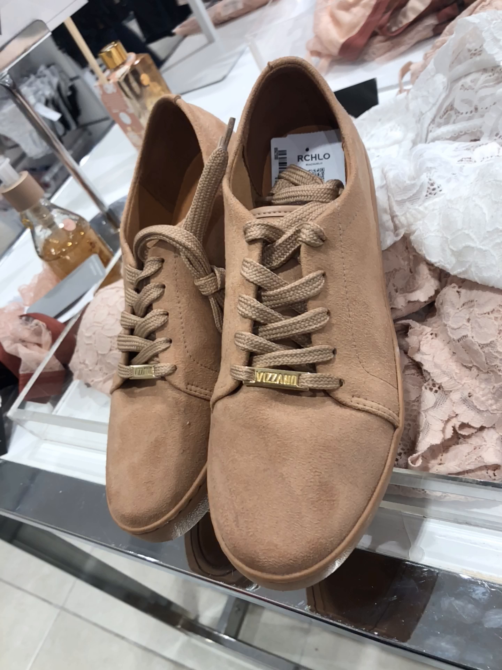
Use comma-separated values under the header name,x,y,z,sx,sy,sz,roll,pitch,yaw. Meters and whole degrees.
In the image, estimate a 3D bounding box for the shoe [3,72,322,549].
name,x,y,z,sx,sy,sz,roll,pitch,yaw
shoe,-0.038,-0.012,0.330,0.090,0.099,0.241,-1,68,34

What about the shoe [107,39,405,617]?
name,x,y,z,sx,sy,sz,roll,pitch,yaw
shoe,0.023,-0.007,0.266,0.090,0.099,0.241,1,65,17
